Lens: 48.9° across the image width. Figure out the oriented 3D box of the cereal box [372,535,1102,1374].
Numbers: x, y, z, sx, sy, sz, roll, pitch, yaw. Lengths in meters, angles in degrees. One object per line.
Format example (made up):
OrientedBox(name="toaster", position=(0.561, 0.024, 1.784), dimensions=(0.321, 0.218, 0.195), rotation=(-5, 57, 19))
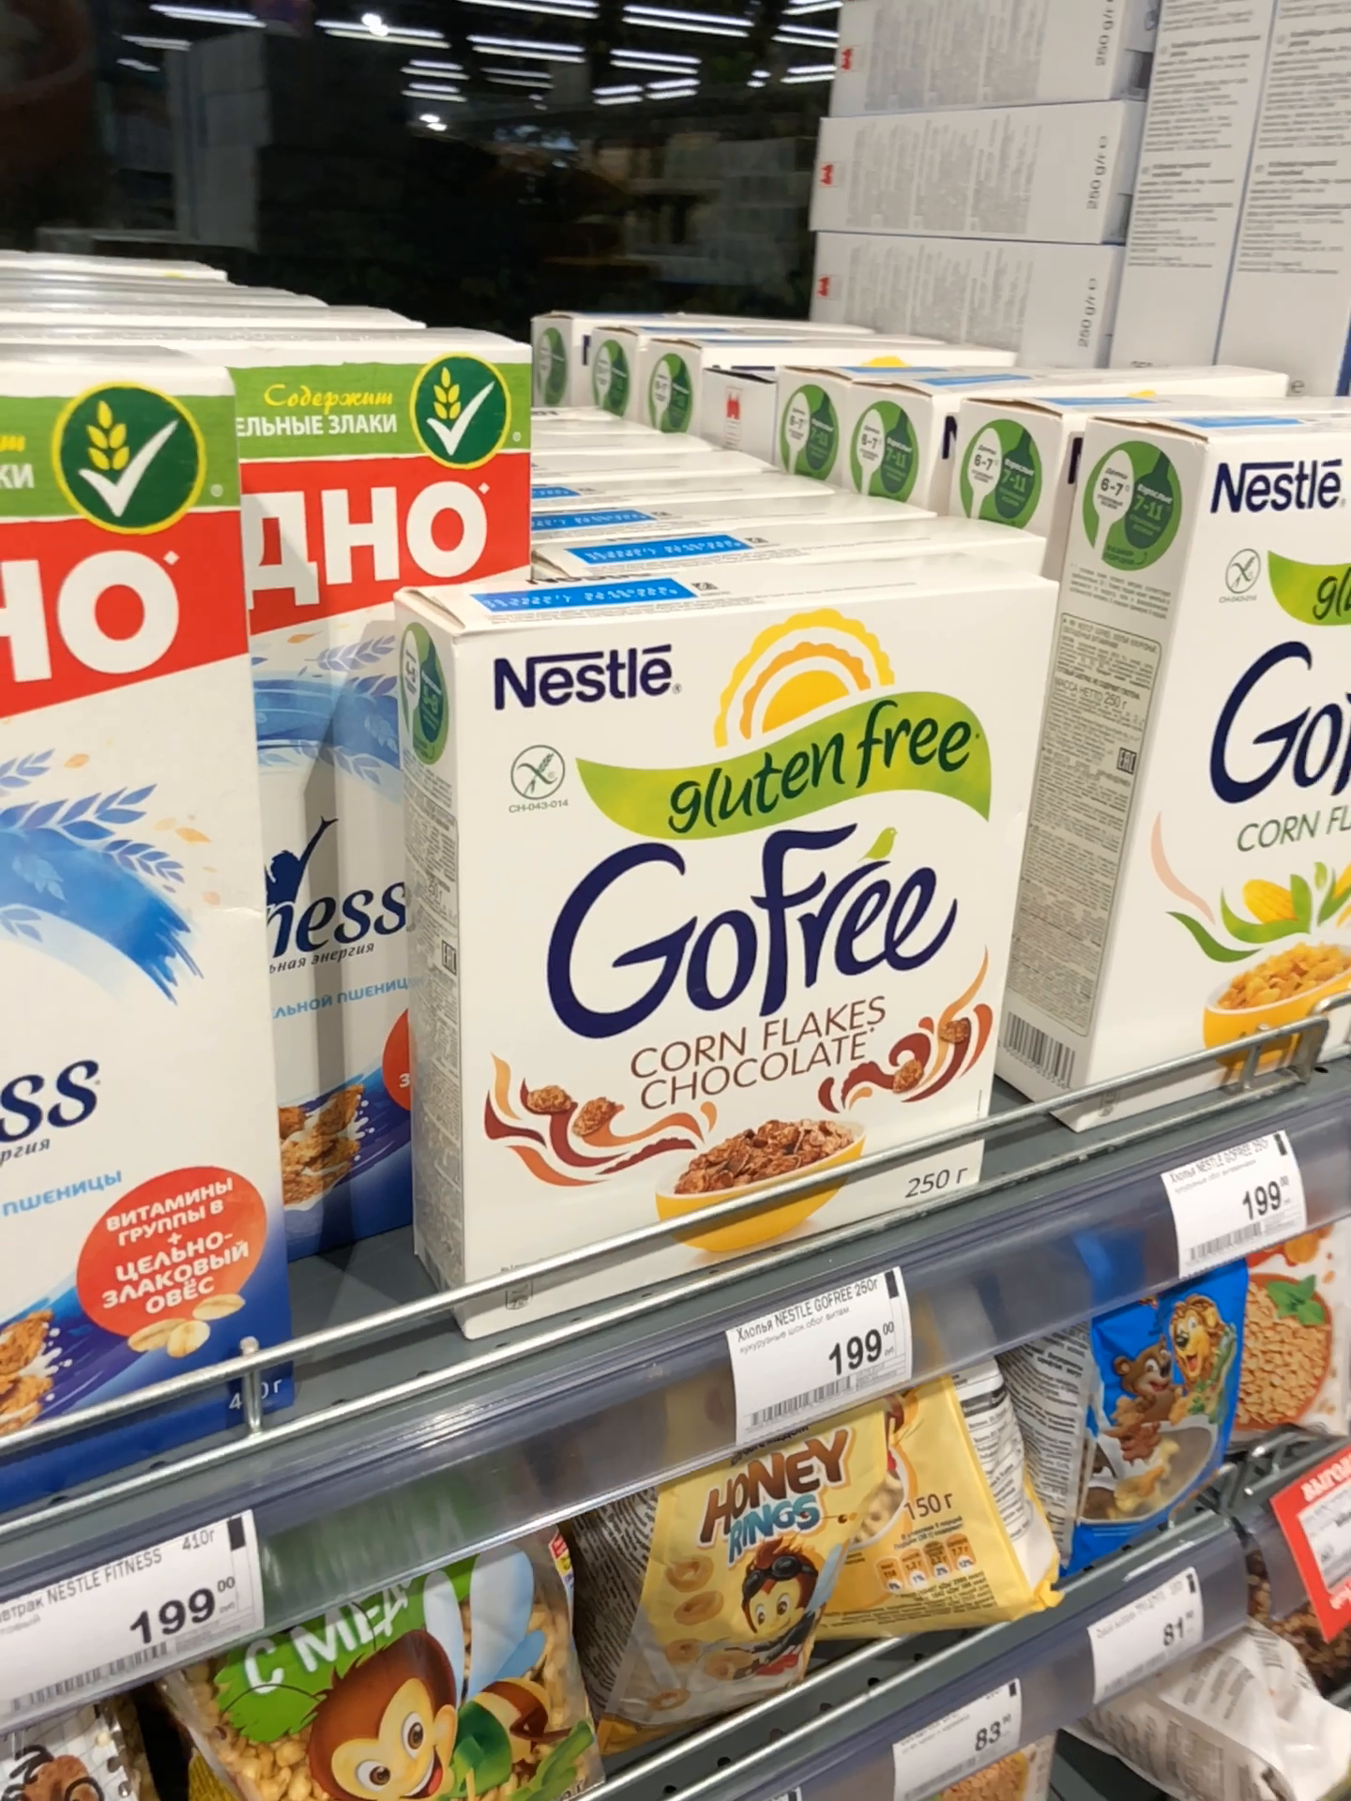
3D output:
OrientedBox(name="cereal box", position=(0.018, 0.009, 0.454), dimensions=(0.200, 0.219, 0.060), rotation=(-10, 26, -27))
